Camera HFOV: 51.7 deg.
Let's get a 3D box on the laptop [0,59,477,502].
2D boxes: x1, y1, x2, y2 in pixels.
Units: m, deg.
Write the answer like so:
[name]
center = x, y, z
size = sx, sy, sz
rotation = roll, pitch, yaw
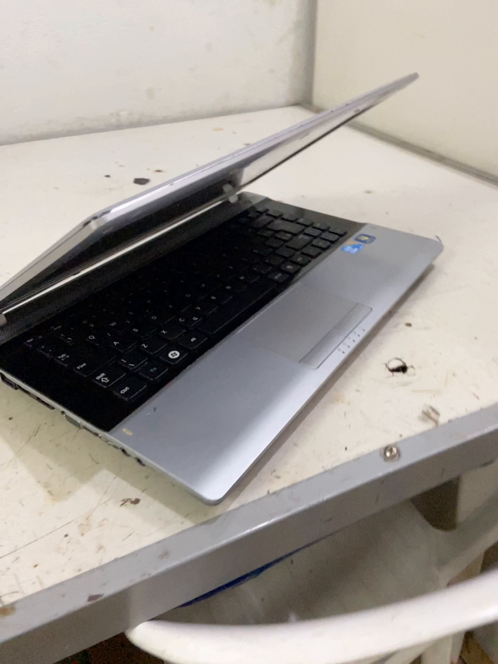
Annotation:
[laptop]
center = -0.014, -0.094, 0.376
size = 0.232, 0.133, 0.338
rotation = 22, 41, 28
